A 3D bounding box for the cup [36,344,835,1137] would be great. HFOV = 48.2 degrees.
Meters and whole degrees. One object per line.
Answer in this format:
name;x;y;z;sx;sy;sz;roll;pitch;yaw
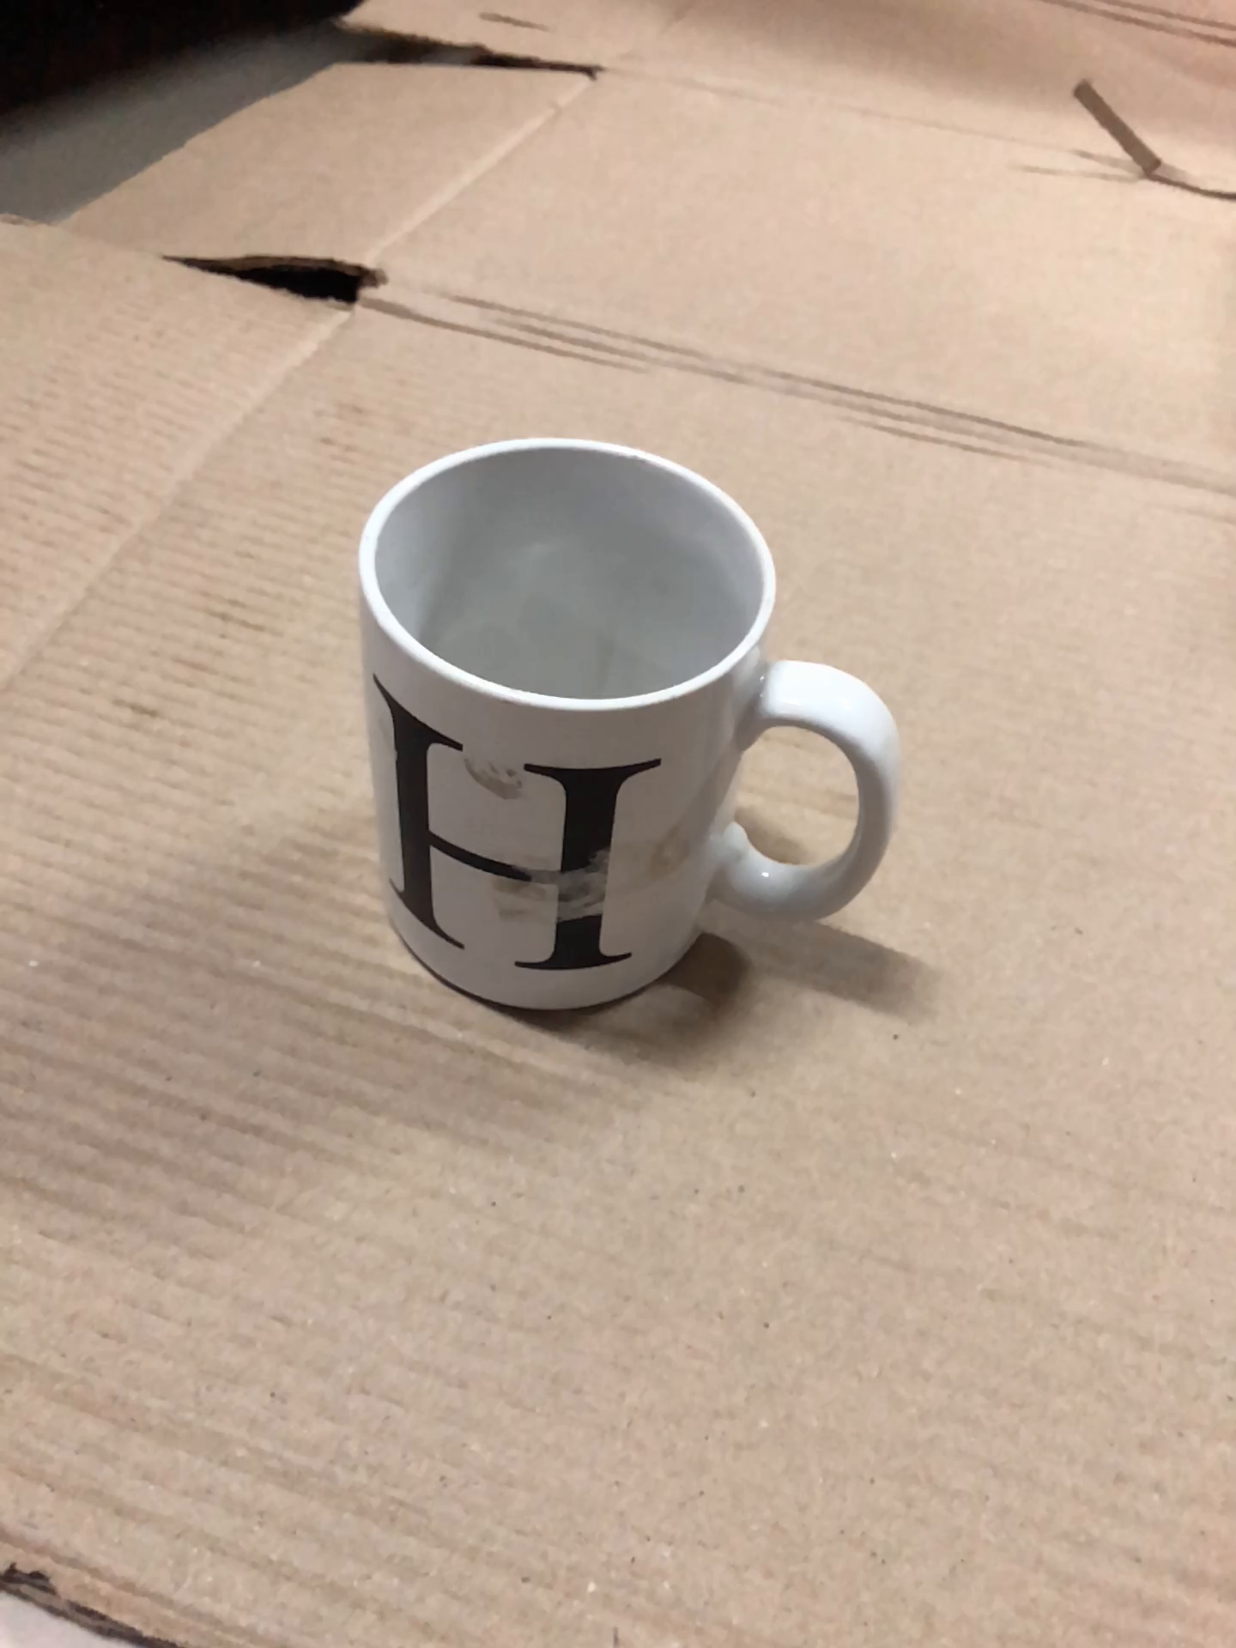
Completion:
cup;-0.030;-0.018;0.267;0.110;0.099;0.080;17;45;11
